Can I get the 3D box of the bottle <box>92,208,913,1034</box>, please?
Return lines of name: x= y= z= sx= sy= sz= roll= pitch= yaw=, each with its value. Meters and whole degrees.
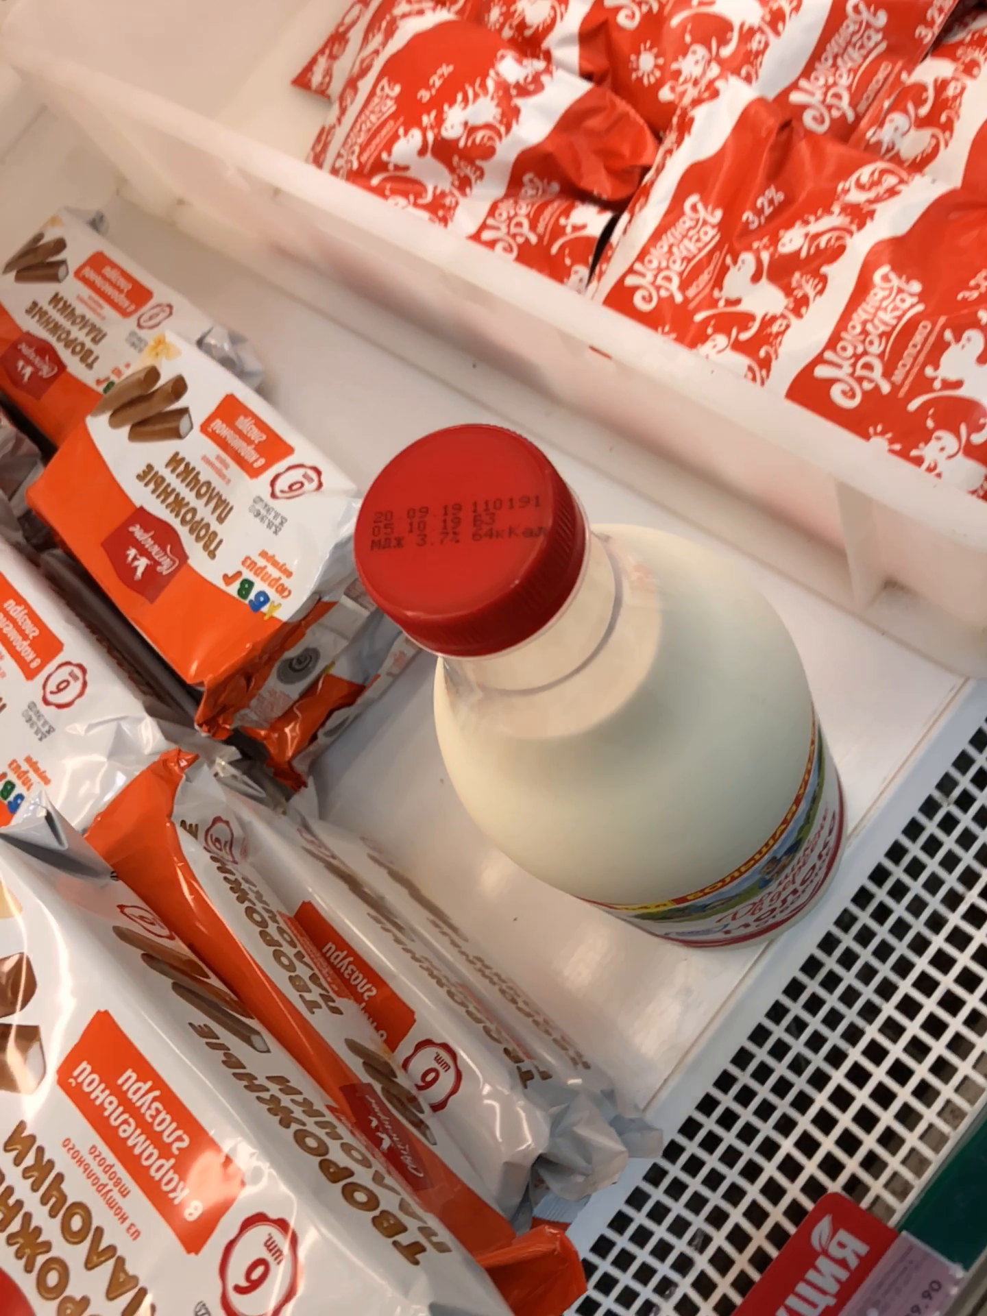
bottle: x=0.040 y=0.027 z=0.308 sx=0.110 sy=0.279 sz=0.090 roll=-48 pitch=61 yaw=0
